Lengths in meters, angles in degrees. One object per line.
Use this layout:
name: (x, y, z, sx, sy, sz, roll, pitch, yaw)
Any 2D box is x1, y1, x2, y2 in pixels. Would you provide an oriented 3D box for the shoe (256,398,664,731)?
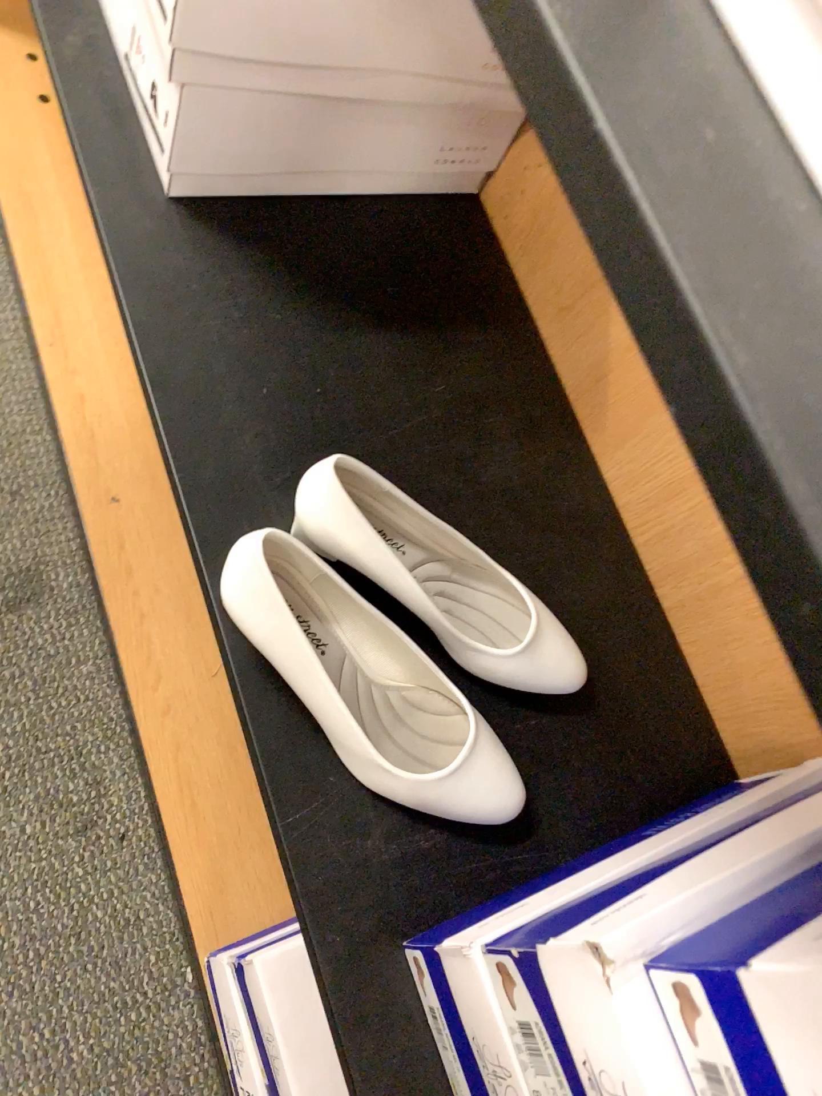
shoe: (0.031, 0.019, 0.577, 0.250, 0.100, 0.080, 32, 60, -6)

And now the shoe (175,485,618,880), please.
shoe: (-0.014, 0.092, 0.530, 0.250, 0.110, 0.090, 38, 60, -2)
